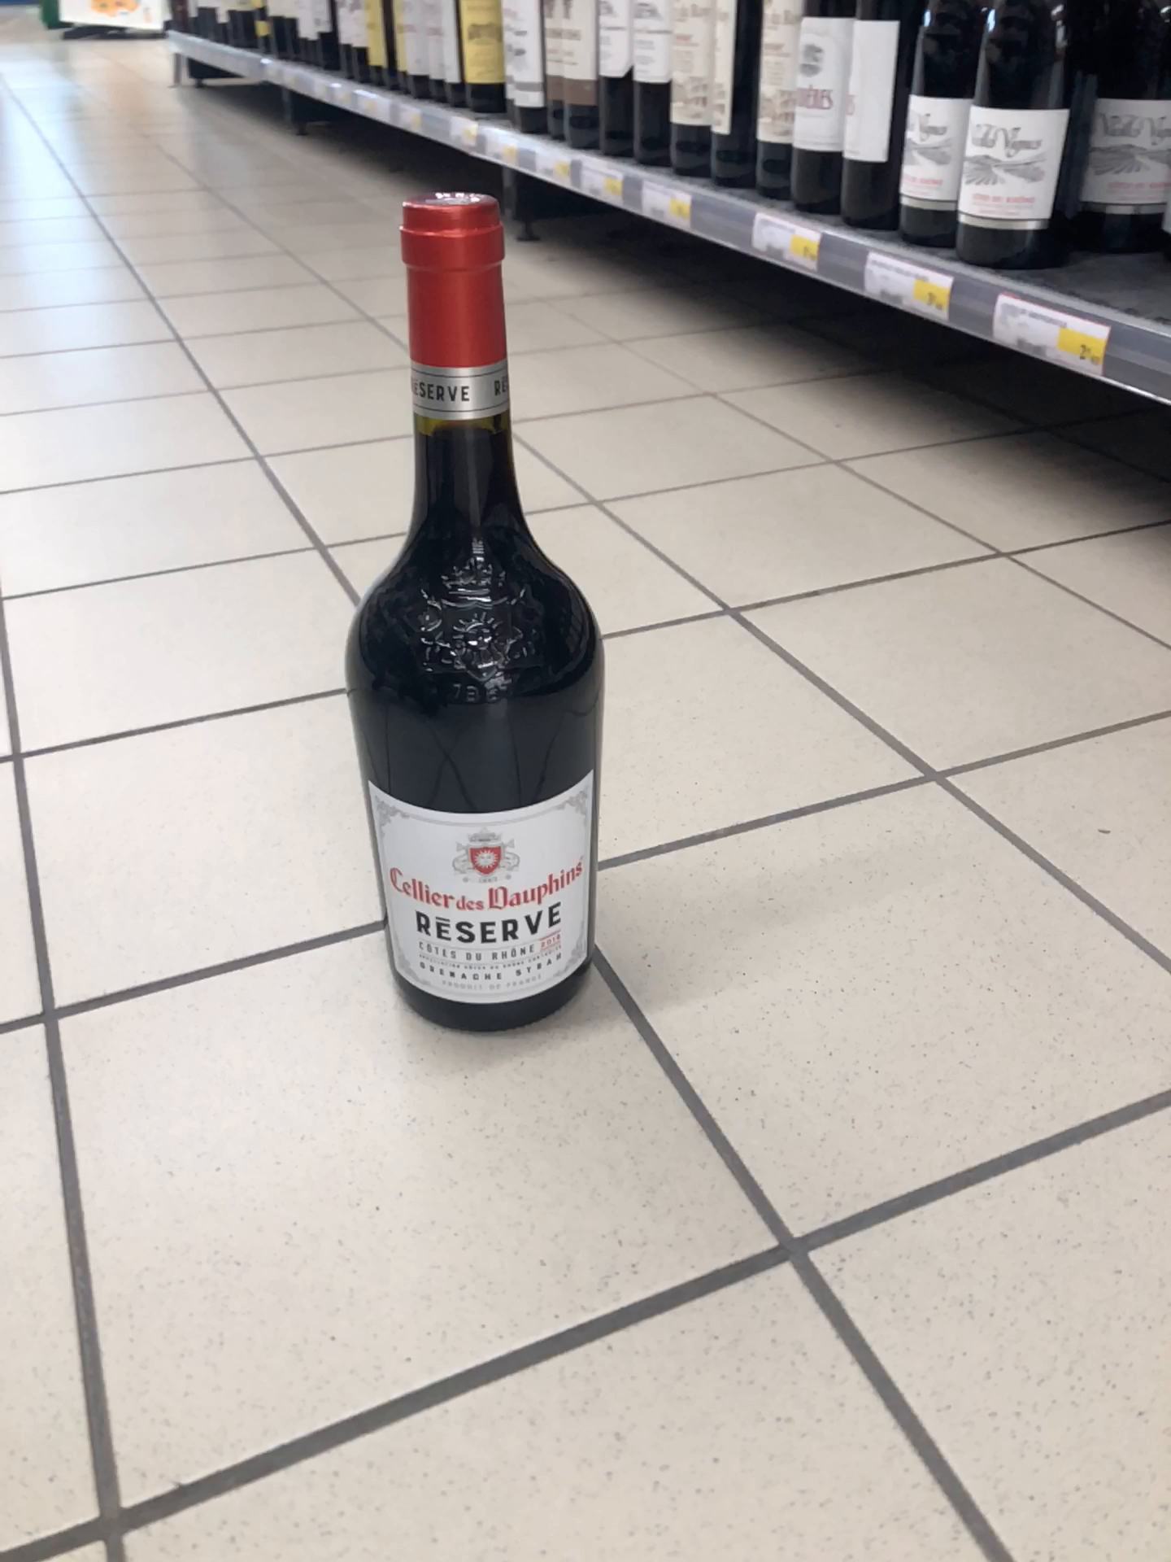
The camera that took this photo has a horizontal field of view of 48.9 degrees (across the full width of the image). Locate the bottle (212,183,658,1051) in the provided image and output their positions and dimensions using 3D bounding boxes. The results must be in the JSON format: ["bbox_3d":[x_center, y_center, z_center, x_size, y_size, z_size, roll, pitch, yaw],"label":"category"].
[{"bbox_3d":[-0.035,-0.046,0.430,0.110,0.268,0.101,0,31,0],"label":"bottle"}]
